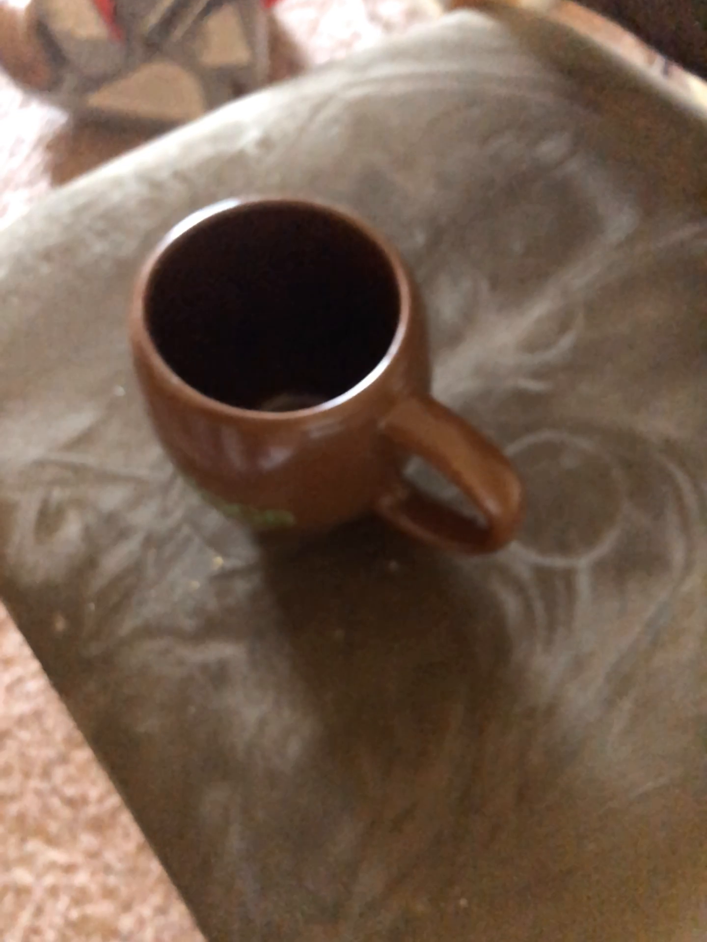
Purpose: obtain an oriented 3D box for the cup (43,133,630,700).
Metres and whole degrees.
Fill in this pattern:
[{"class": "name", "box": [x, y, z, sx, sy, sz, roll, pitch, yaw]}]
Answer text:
[{"class": "cup", "box": [-0.007, -0.013, 0.271, 0.140, 0.100, 0.090, 42, 73, 14]}]
